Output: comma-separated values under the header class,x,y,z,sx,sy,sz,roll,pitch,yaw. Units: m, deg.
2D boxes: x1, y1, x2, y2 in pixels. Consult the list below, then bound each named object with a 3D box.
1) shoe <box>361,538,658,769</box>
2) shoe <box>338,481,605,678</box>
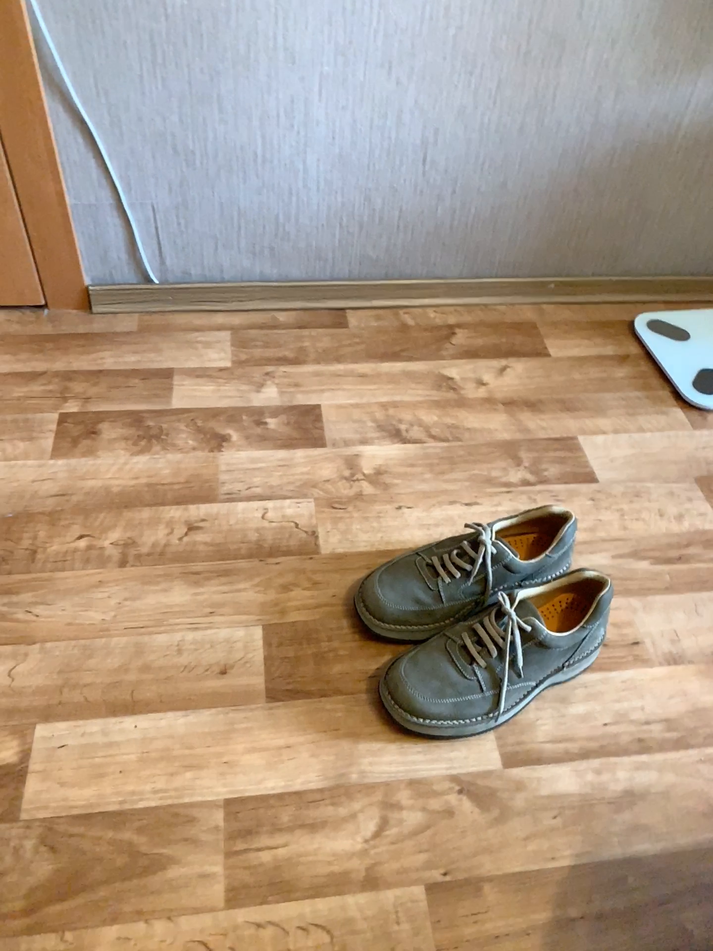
class,x,y,z,sx,sy,sz,roll,pitch,yaw
shoe,0.166,0.191,0.813,0.290,0.110,0.120,-17,50,-20
shoe,0.136,0.124,0.904,0.290,0.120,0.120,-14,49,-18
